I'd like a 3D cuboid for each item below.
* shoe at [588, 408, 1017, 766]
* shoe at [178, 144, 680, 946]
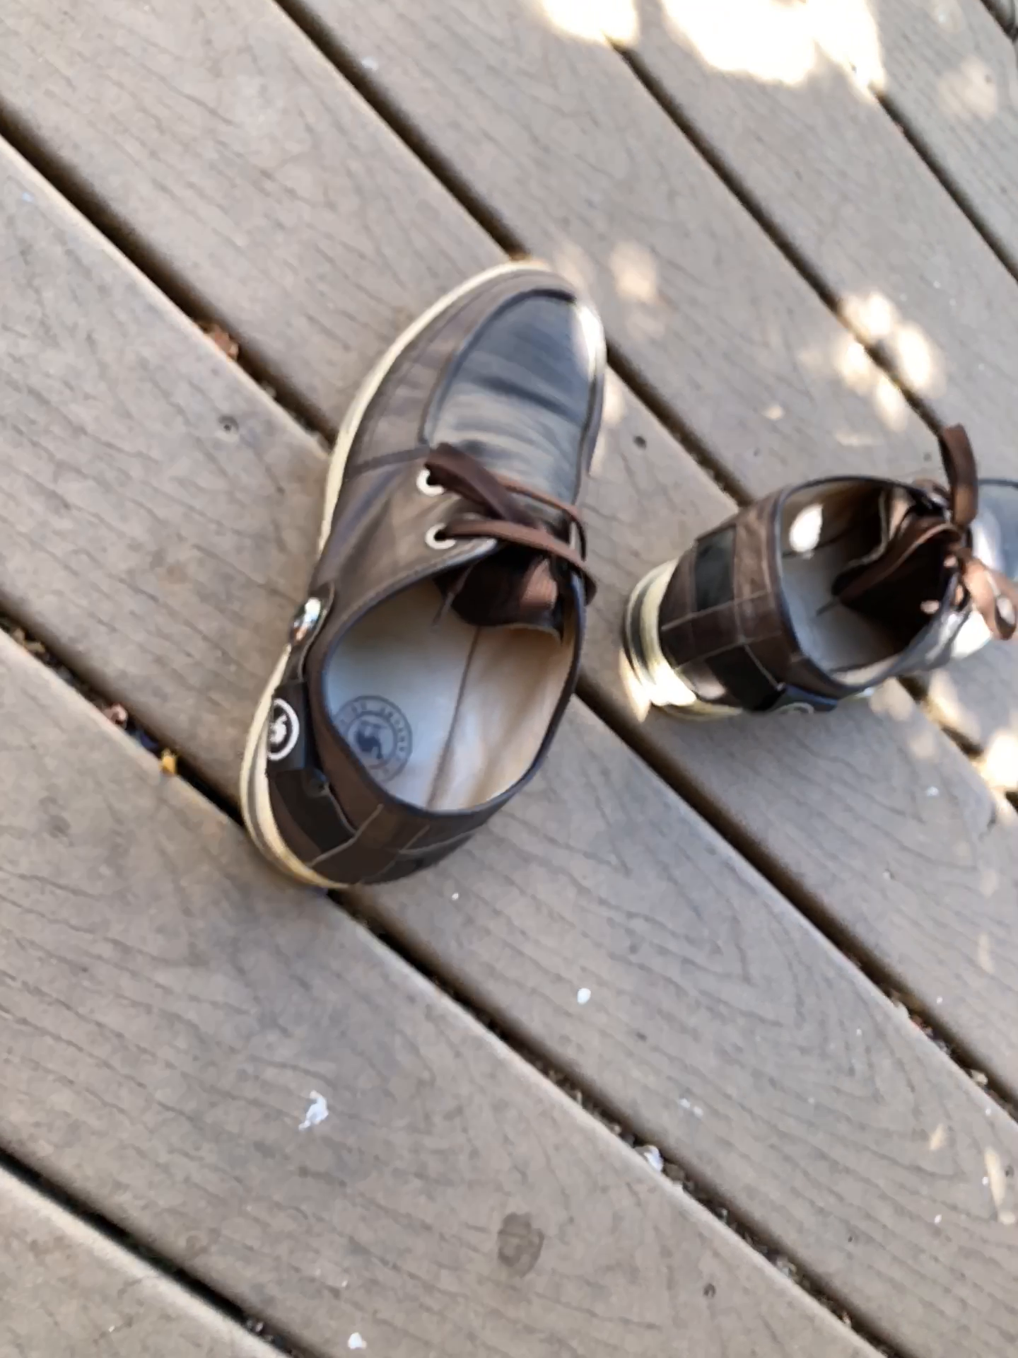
[{"bbox_3d":[0.195,-0.050,0.561,0.286,0.099,0.110,-14,89,-29],"label":"shoe"},{"bbox_3d":[-0.025,-0.051,0.454,0.111,0.069,0.285,22,72,-24],"label":"shoe"}]
